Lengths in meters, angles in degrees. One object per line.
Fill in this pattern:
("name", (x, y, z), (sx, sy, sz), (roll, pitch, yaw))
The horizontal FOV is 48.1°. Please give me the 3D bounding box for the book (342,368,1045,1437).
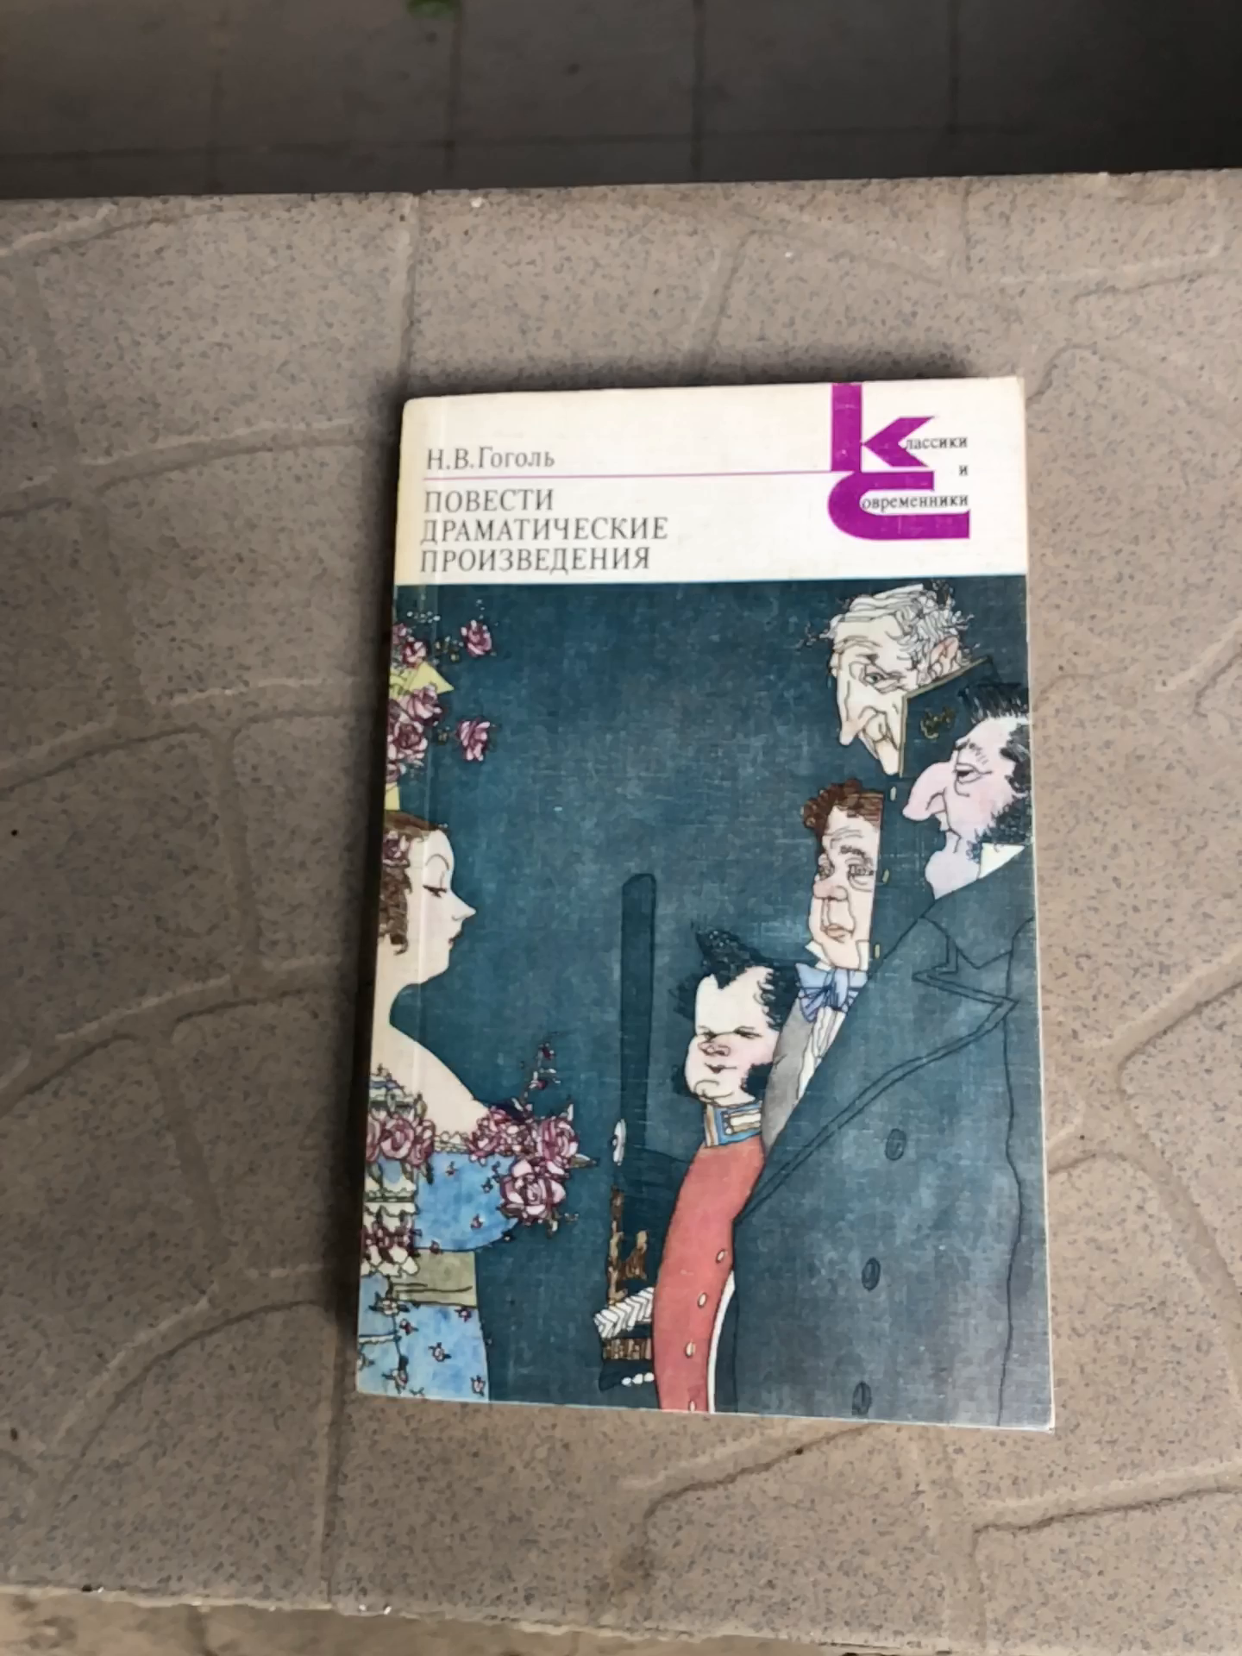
("book", (0.015, 0.009, 0.269), (0.123, 0.021, 0.193), (0, 81, 8))
